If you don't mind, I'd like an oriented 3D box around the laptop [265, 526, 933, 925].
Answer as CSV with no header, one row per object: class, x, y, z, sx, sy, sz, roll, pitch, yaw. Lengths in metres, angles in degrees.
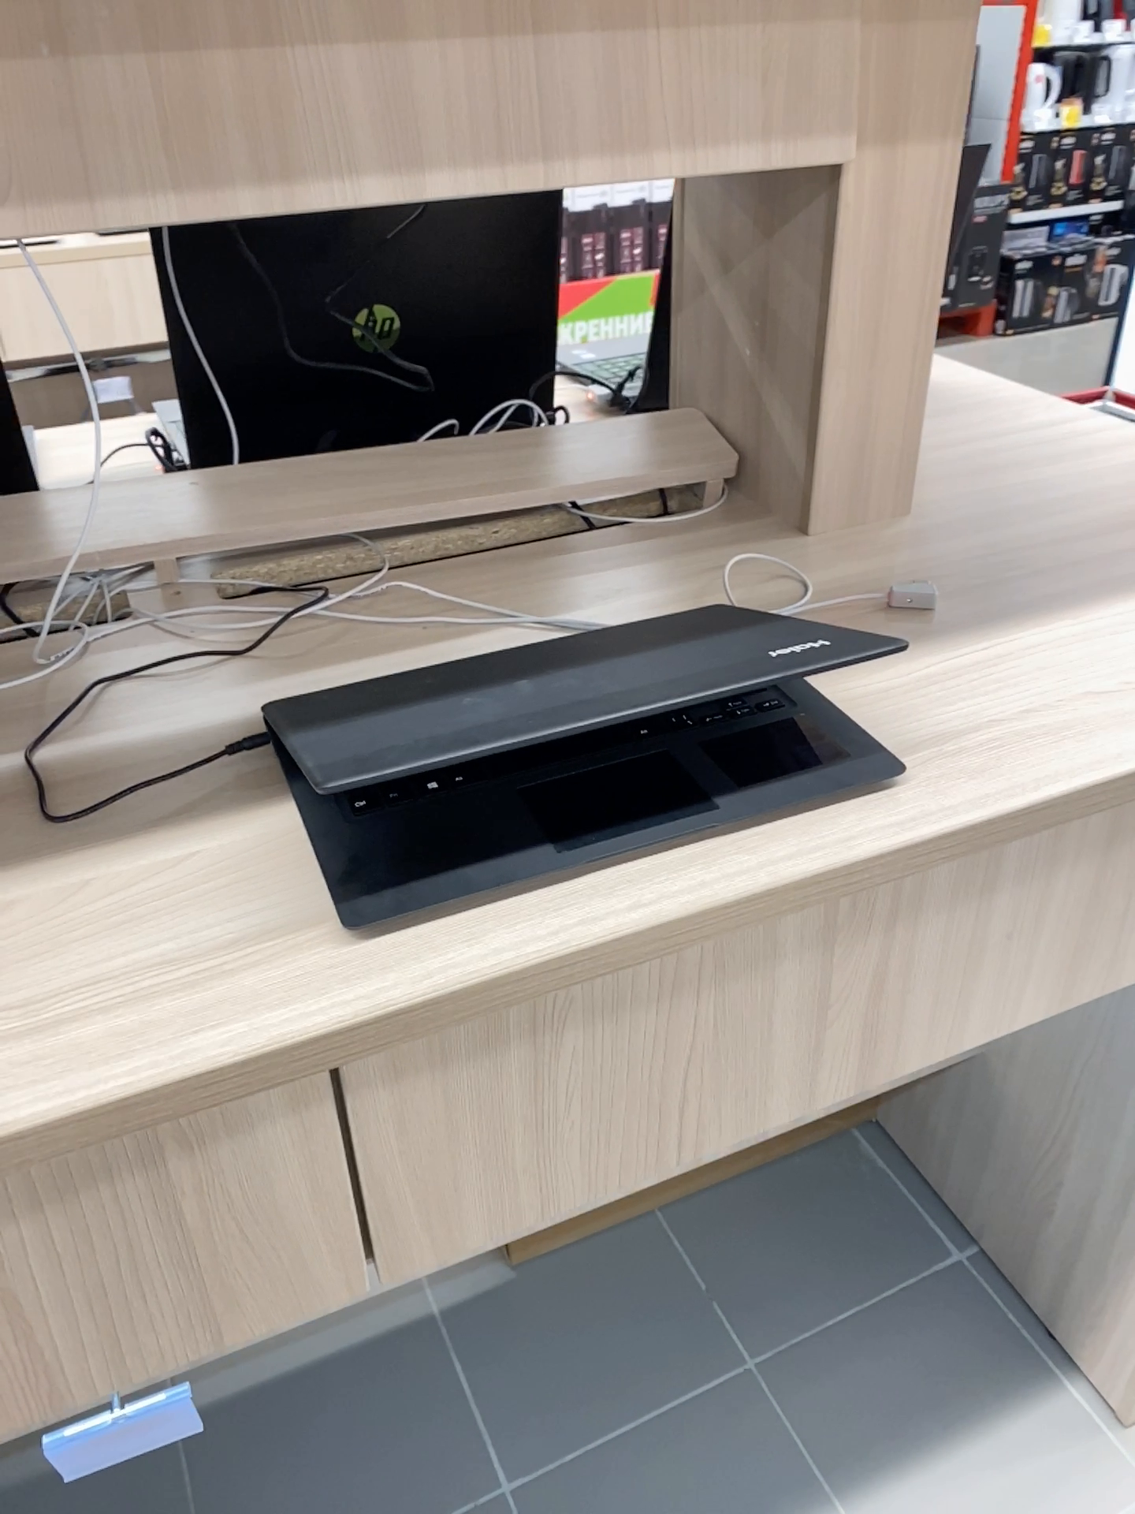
laptop,0.010,-0.037,0.662,0.319,0.072,0.202,-14,35,-19
